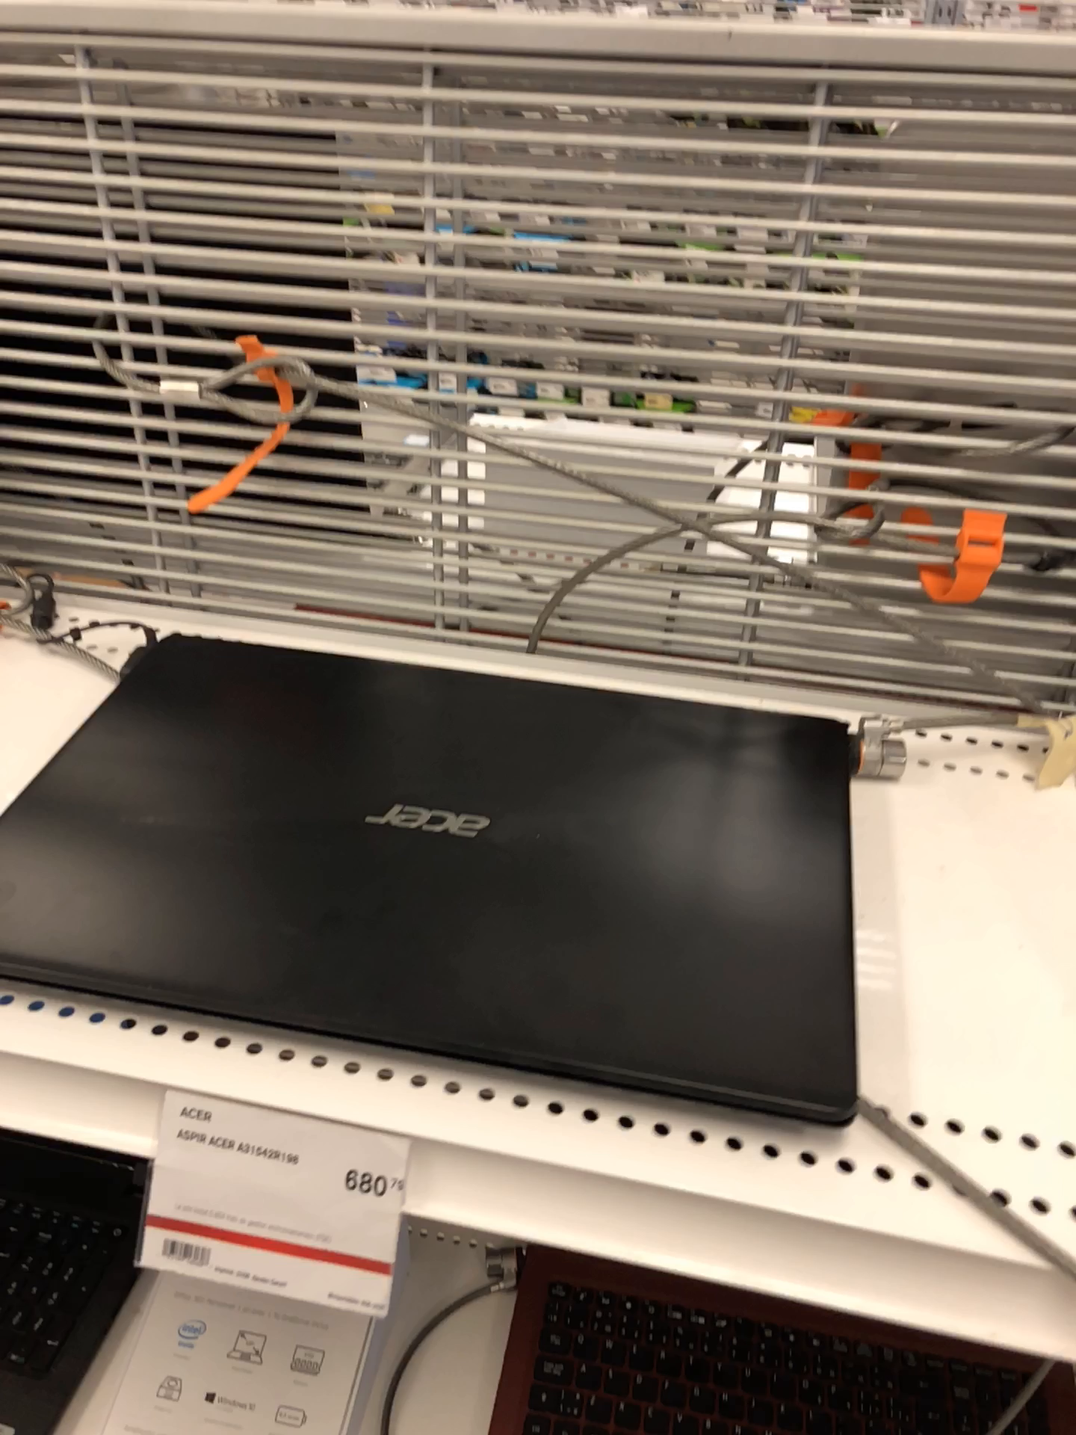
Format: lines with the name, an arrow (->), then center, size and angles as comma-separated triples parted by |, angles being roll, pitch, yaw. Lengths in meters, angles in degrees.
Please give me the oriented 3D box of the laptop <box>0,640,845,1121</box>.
laptop -> -0.047, 0.048, 0.519 | 0.354, 0.006, 0.232 | 8, 35, 8
